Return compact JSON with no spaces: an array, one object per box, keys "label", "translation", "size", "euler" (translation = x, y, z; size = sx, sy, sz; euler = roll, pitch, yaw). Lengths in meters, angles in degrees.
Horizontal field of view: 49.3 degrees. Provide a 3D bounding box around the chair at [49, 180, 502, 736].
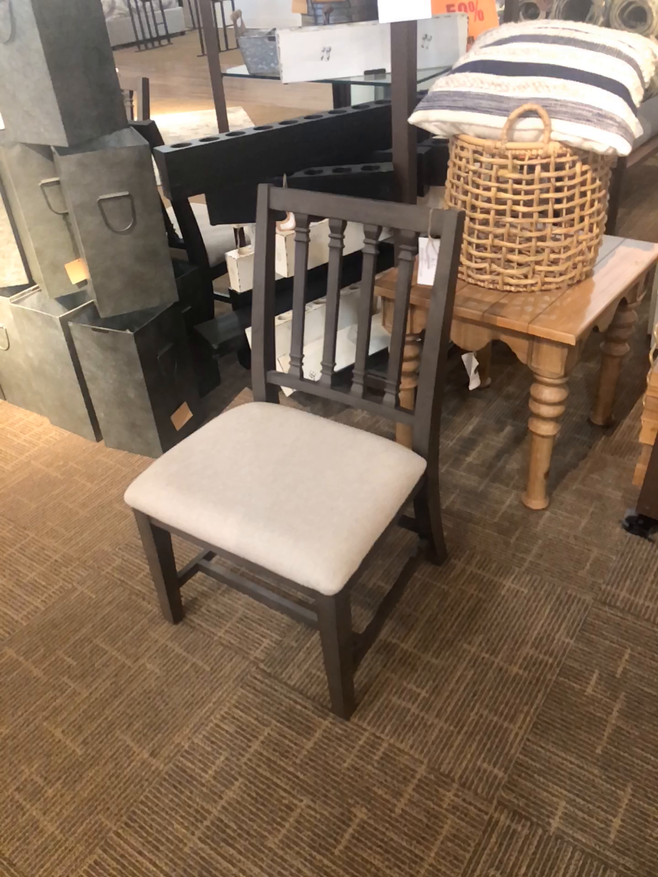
[{"label":"chair","translation":[-0.056,0.012,1.572],"size":[0.581,0.905,0.602],"euler":[20,42,30]}]
